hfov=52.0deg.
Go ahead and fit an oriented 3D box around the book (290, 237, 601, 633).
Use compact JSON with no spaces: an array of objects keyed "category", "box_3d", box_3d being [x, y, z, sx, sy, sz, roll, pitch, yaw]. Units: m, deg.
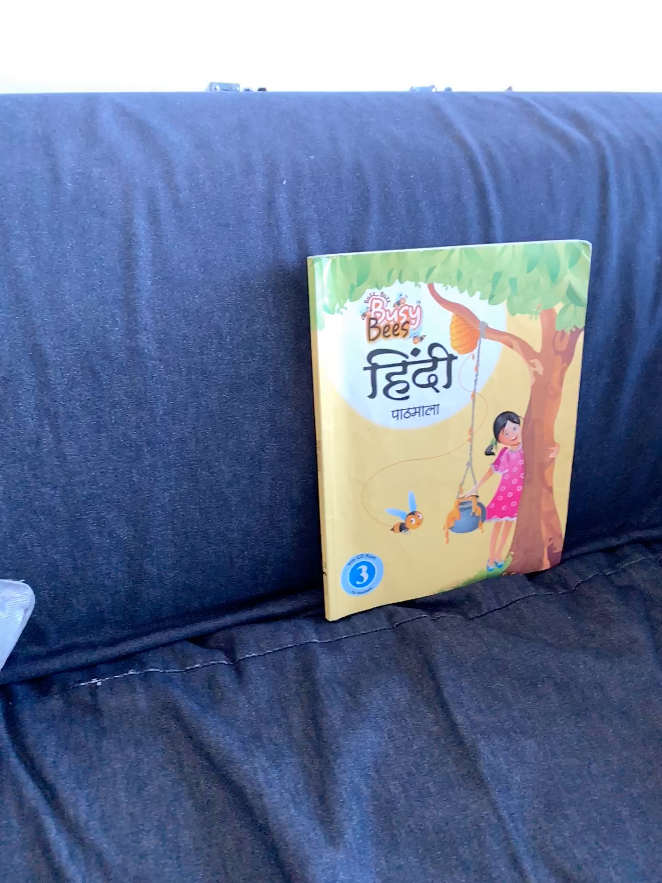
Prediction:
[{"category":"book","box_3d":[0.091,-0.005,0.528,0.230,0.284,0.029,-8,20,-16]}]
